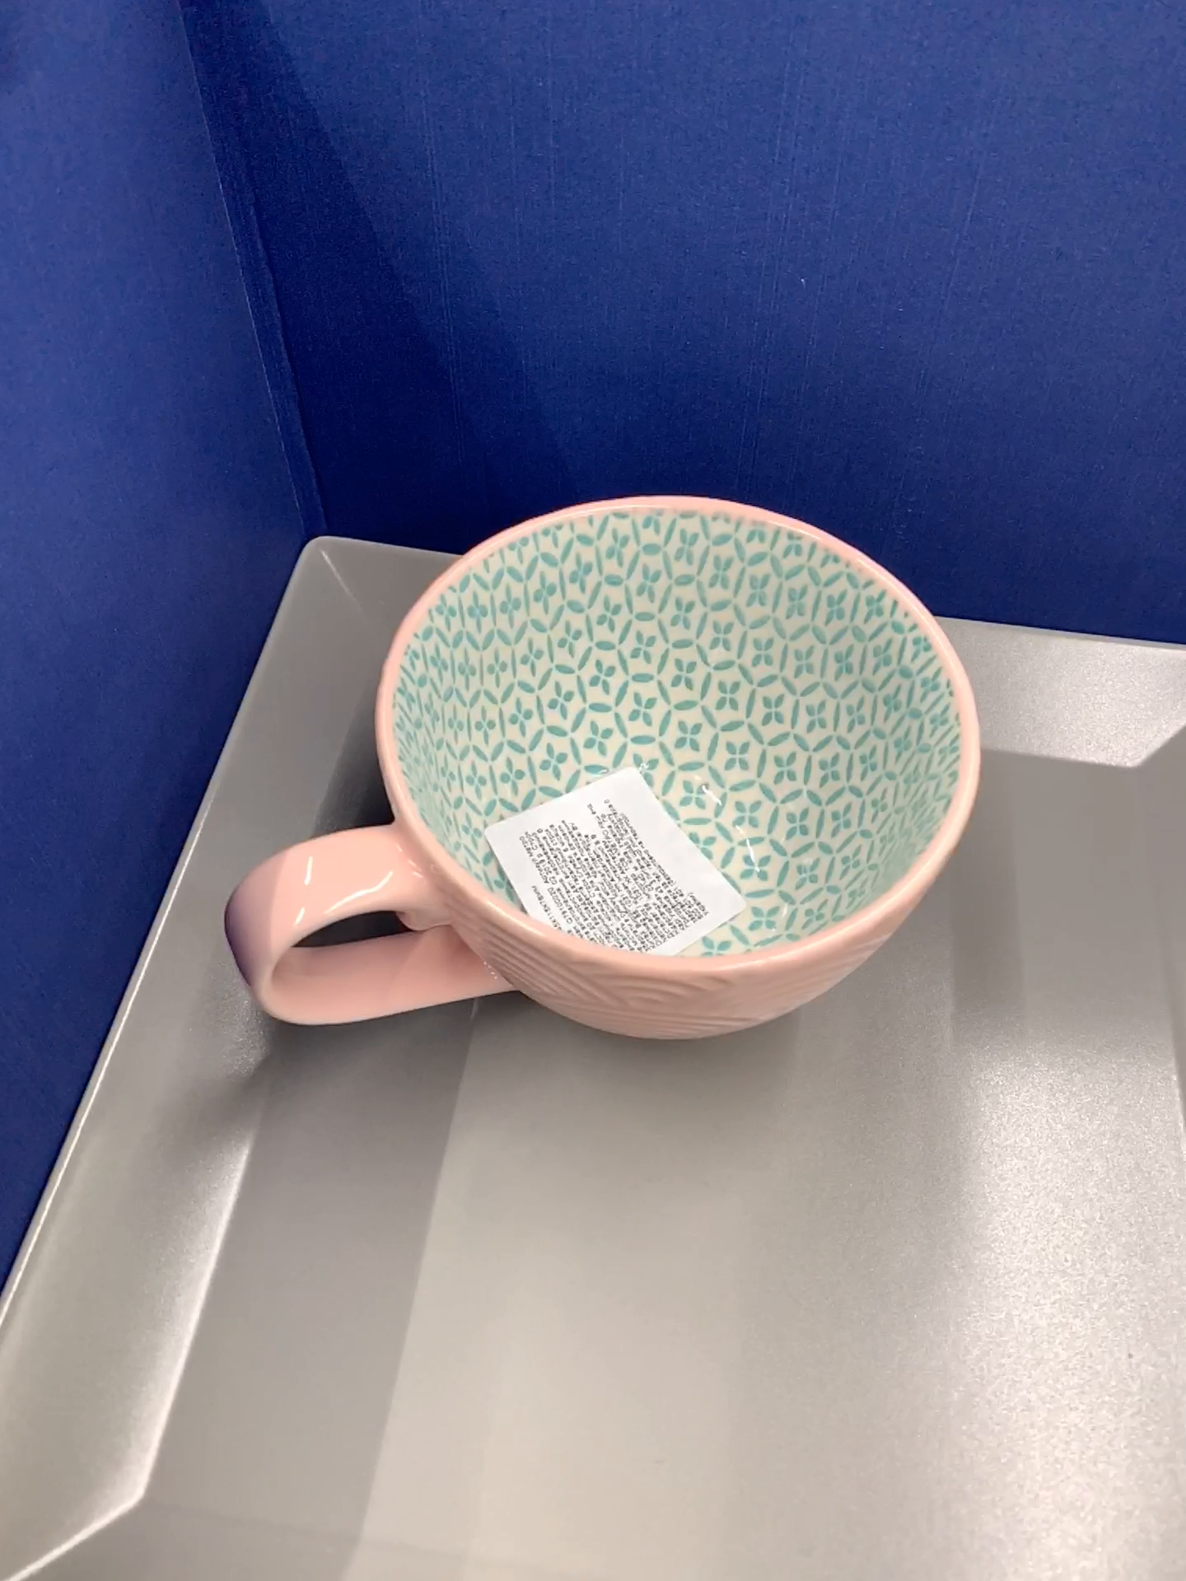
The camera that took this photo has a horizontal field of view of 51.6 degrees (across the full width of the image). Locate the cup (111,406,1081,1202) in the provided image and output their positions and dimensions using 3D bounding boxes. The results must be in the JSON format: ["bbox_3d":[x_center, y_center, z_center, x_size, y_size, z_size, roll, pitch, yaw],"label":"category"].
[{"bbox_3d":[-0.003,-0.002,0.255,0.150,0.064,0.104,-20,64,-15],"label":"cup"}]
